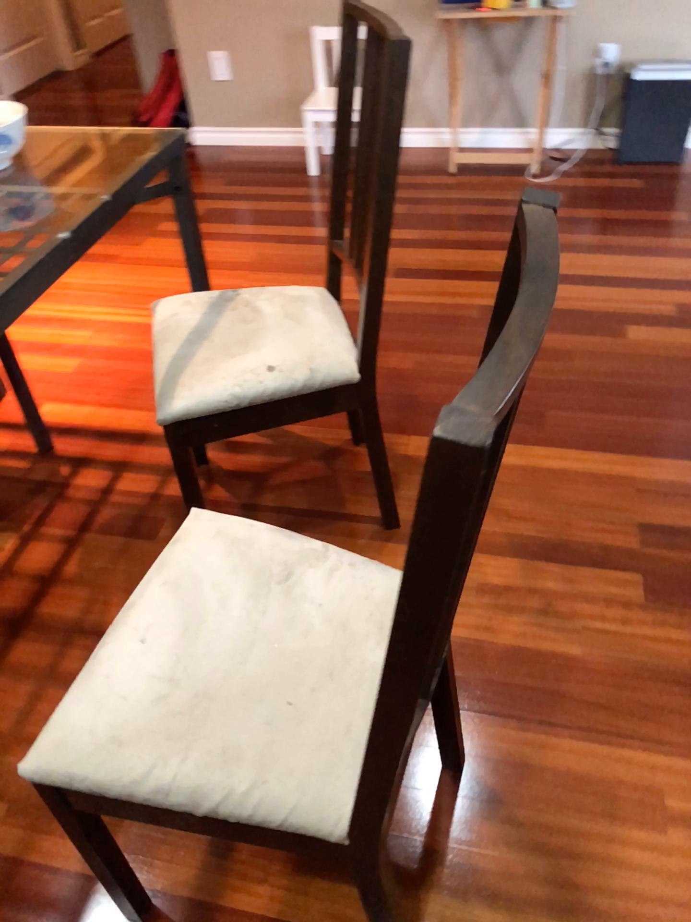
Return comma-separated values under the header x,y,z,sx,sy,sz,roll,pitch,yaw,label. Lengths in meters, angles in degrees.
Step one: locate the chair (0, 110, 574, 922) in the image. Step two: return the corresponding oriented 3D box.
x,y,z,sx,sy,sz,roll,pitch,yaw,label
-0.078,0.212,0.920,0.511,1.053,0.493,10,43,17,chair
